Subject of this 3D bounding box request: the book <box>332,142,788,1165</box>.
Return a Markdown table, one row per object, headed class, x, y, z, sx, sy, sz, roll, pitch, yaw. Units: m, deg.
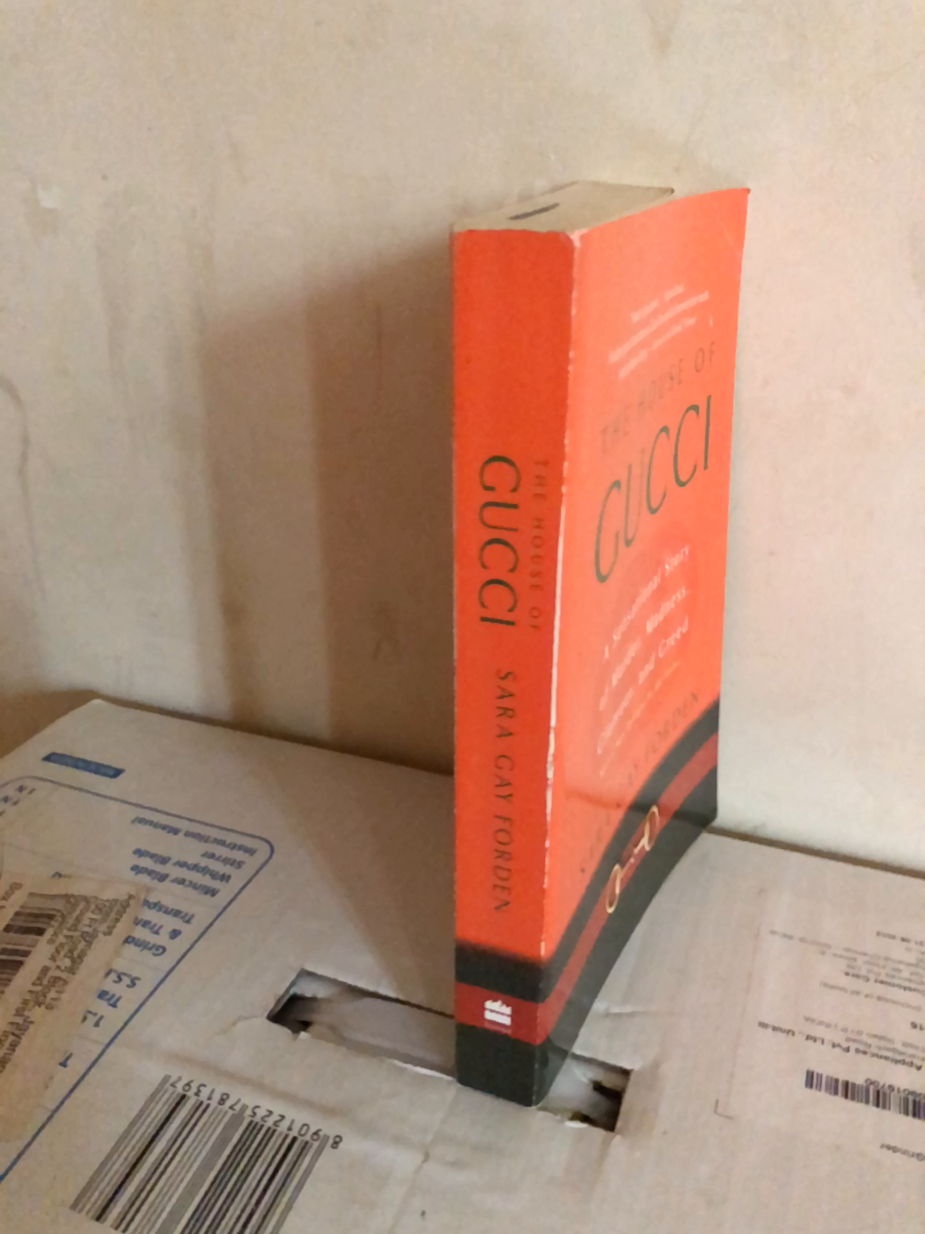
| class | x | y | z | sx | sy | sz | roll | pitch | yaw |
| --- | --- | --- | --- | --- | --- | --- | --- | --- | --- |
| book | 0.040 | -0.005 | 0.296 | 0.040 | 0.229 | 0.191 | 12 | 30 | 24 |
